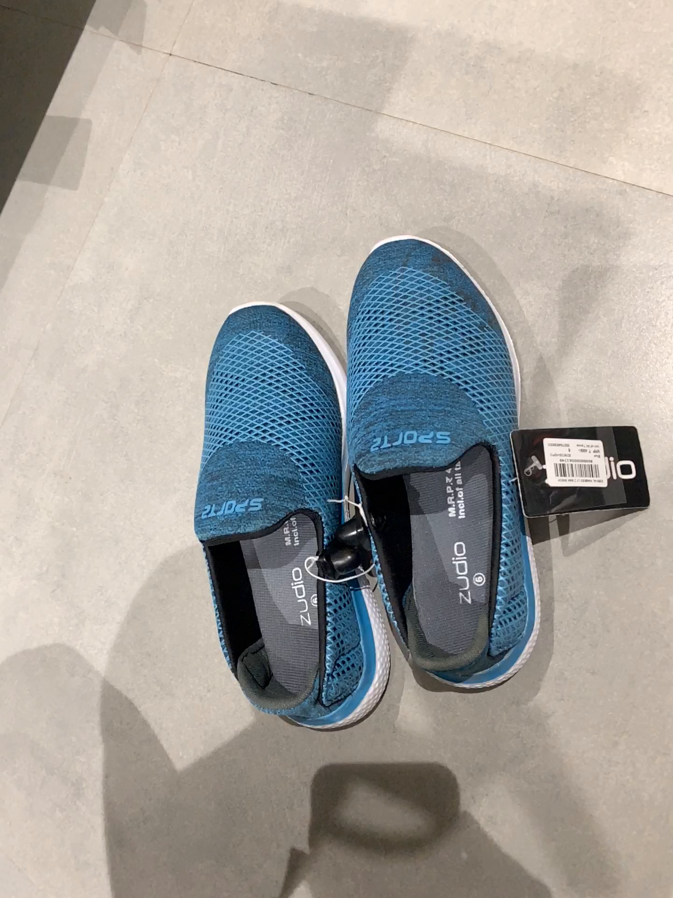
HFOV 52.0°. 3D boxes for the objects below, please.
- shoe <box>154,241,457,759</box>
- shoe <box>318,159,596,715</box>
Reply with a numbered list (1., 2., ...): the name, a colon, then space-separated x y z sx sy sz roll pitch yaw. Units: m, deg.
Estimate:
1. shoe: -0.020 0.030 0.407 0.110 0.080 0.260 -16 78 20
2. shoe: 0.063 -0.003 0.360 0.090 0.080 0.250 -11 79 21
